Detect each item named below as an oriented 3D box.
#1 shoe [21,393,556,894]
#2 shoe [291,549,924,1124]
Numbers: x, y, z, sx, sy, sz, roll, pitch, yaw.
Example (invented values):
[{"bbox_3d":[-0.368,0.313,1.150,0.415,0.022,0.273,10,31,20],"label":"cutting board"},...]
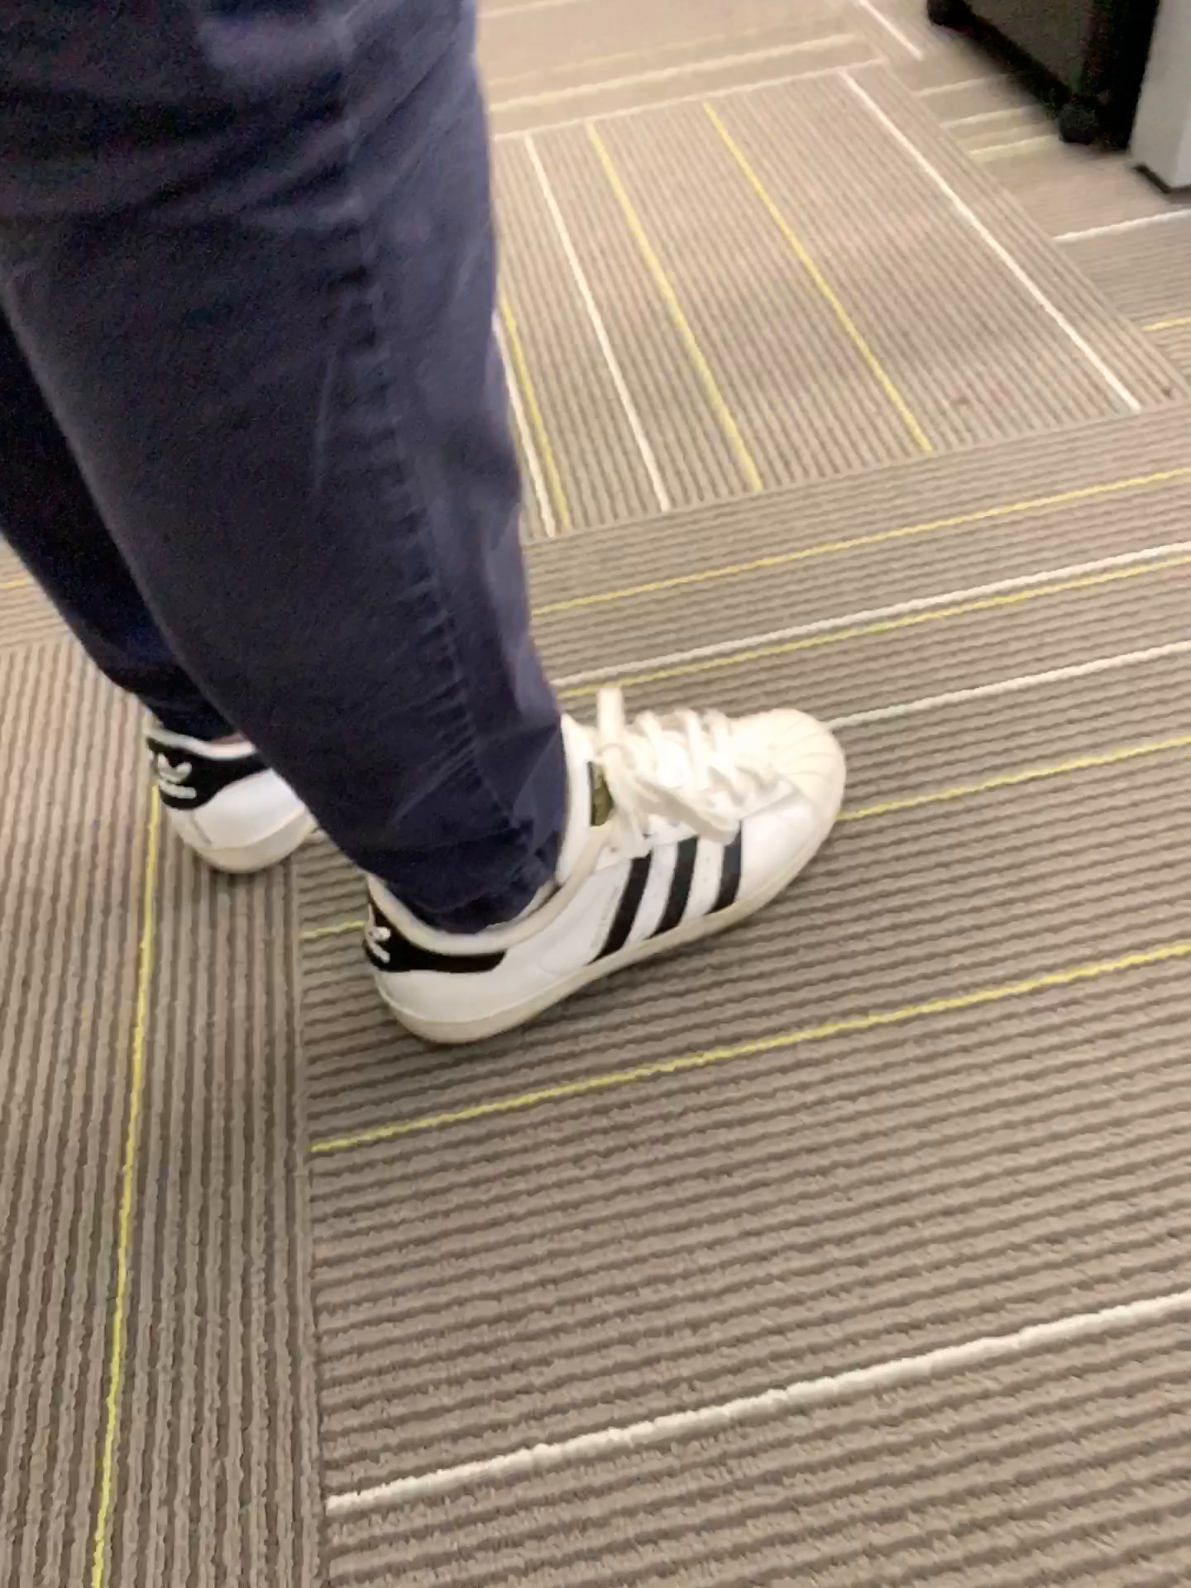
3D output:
[{"bbox_3d":[-0.149,-0.091,0.665,0.108,0.104,0.263,25,57,27],"label":"shoe"},{"bbox_3d":[0.014,0.012,0.561,0.258,0.104,0.106,-33,52,-18],"label":"shoe"}]
